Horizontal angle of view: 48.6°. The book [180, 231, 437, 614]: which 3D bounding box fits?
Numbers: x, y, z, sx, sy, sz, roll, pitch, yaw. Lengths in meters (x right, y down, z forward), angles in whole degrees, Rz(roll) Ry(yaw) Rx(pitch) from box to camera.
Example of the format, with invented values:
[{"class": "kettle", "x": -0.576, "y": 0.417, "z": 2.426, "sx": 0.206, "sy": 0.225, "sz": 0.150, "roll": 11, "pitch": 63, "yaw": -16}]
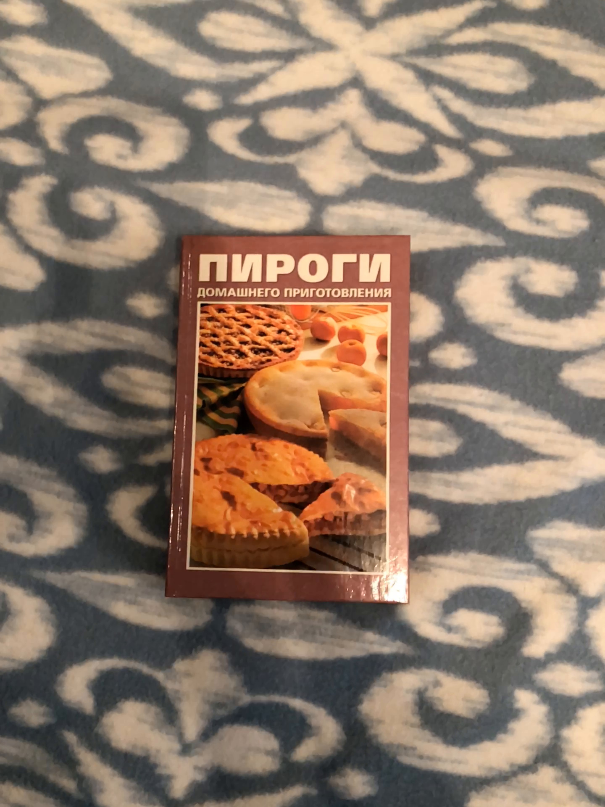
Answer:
[{"class": "book", "x": 0.006, "y": 0.008, "z": 0.376, "sx": 0.131, "sy": 0.040, "sz": 0.201, "roll": 1, "pitch": 84, "yaw": 4}]
